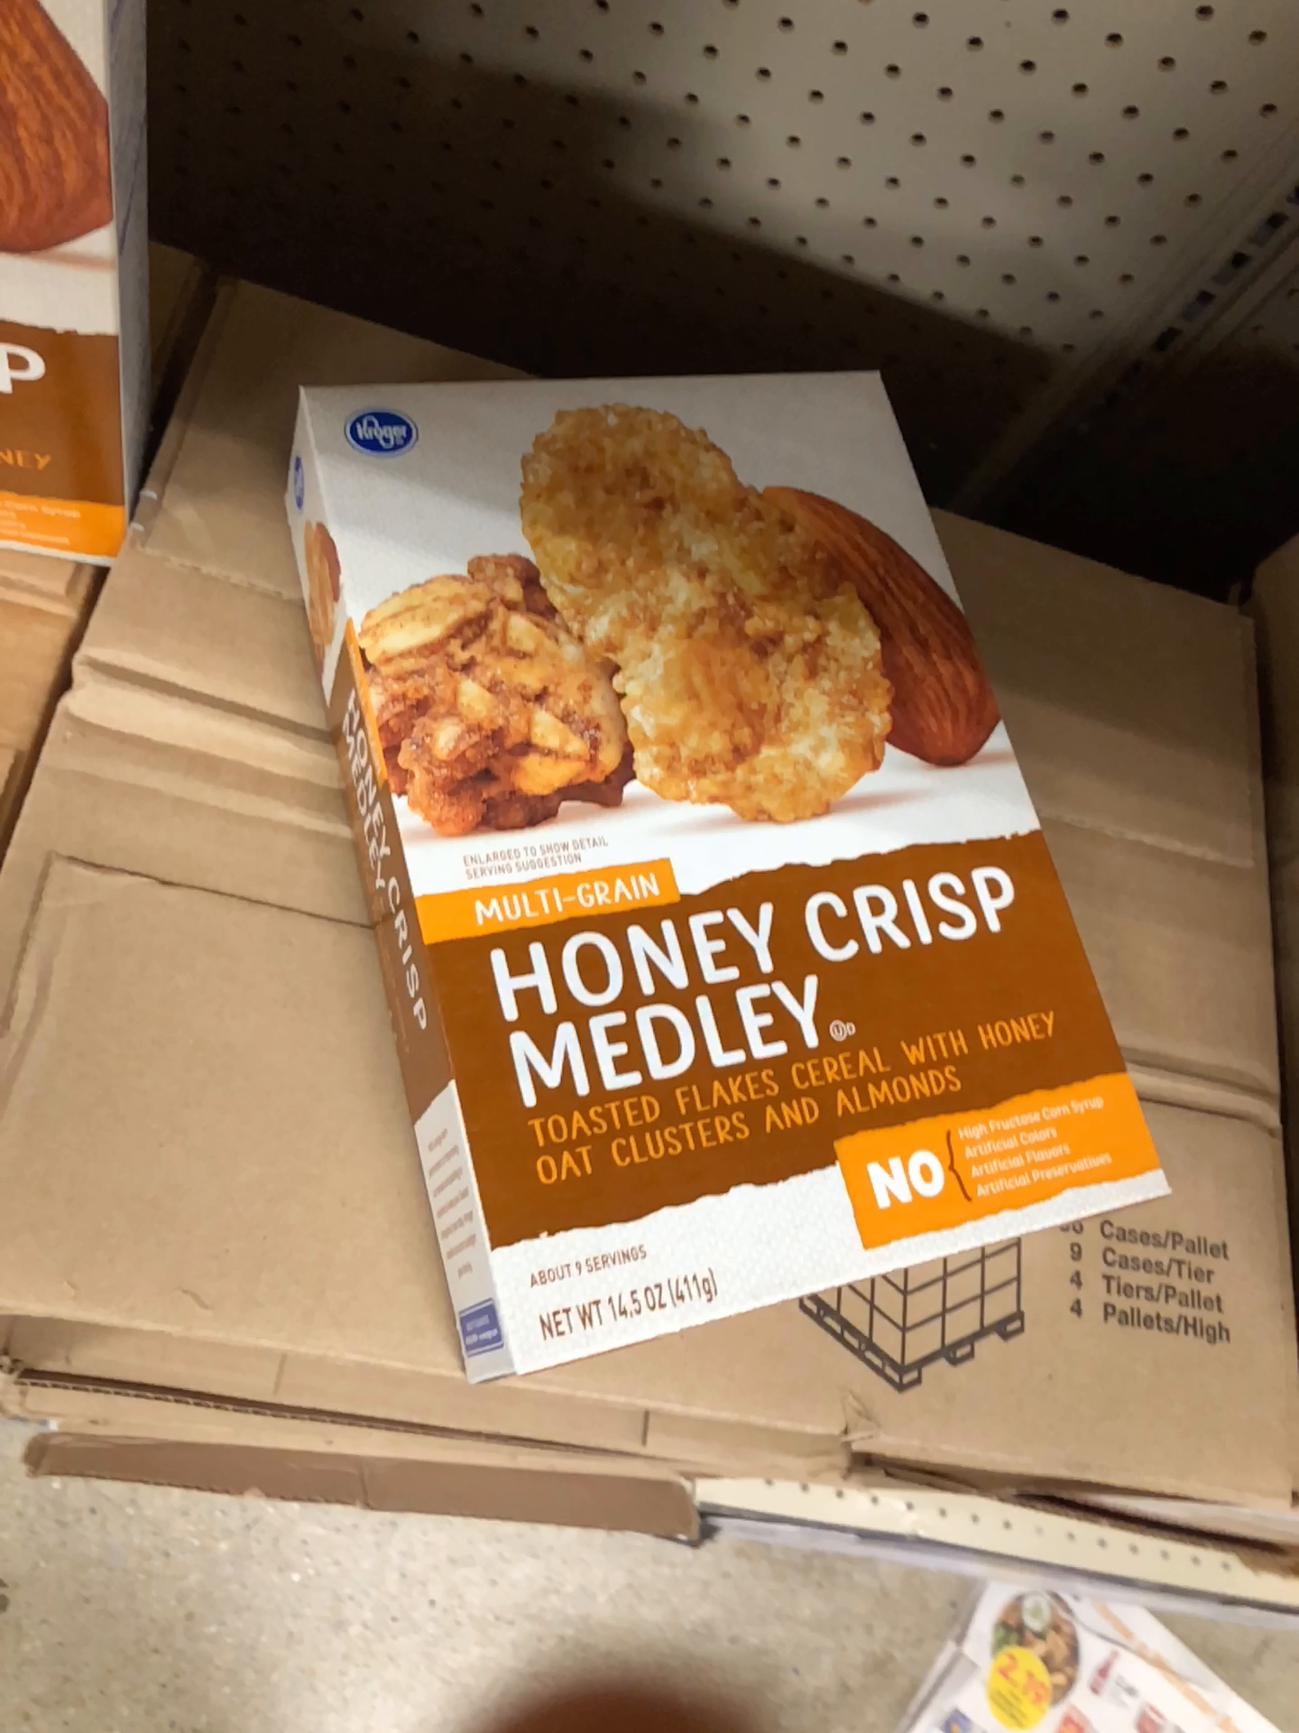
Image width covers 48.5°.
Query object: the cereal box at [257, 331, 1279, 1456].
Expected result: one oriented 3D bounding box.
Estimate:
[{"bbox_3d":[0.023,-0.011,0.388,0.200,0.060,0.270,-9,73,-22],"label":"cereal box"}]
